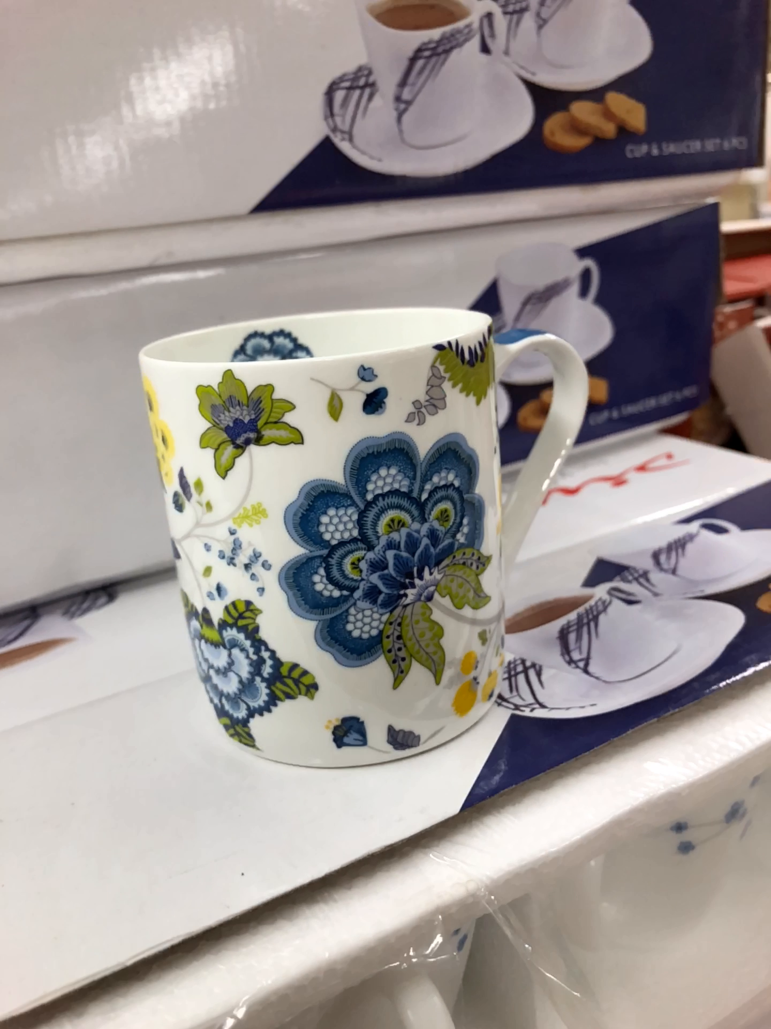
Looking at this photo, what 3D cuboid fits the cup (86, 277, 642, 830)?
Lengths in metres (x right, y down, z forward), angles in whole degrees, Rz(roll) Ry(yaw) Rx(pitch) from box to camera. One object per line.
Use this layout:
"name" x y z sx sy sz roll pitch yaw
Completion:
"cup" -0.002 -0.003 0.206 0.100 0.090 0.070 -18 24 -33
